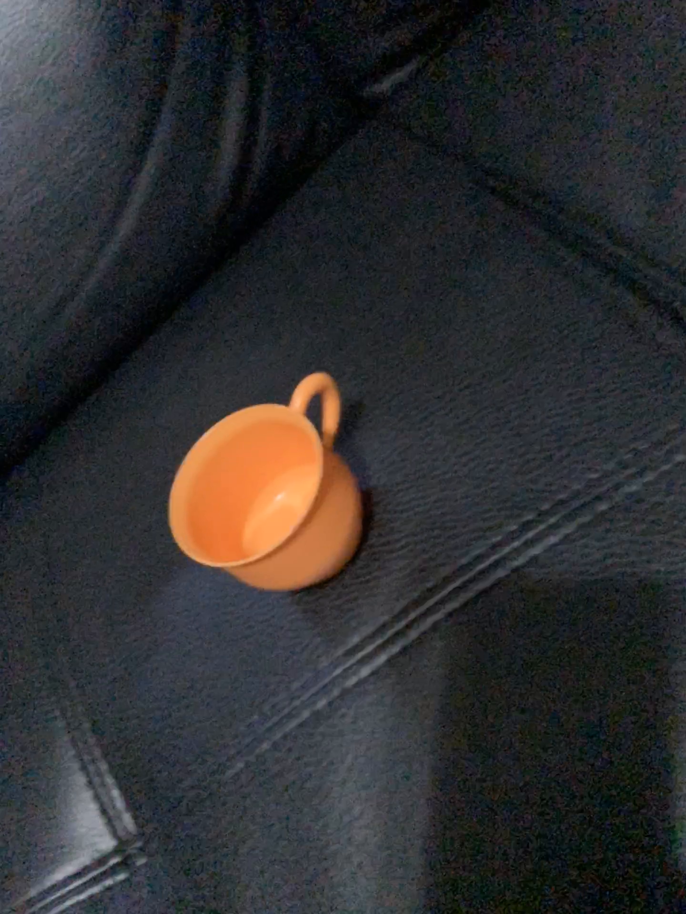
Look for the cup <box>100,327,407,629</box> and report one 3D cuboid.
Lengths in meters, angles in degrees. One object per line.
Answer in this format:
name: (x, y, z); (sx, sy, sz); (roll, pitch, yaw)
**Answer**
cup: (-0.028, 0.005, 0.244); (0.063, 0.046, 0.081); (12, 72, 33)
